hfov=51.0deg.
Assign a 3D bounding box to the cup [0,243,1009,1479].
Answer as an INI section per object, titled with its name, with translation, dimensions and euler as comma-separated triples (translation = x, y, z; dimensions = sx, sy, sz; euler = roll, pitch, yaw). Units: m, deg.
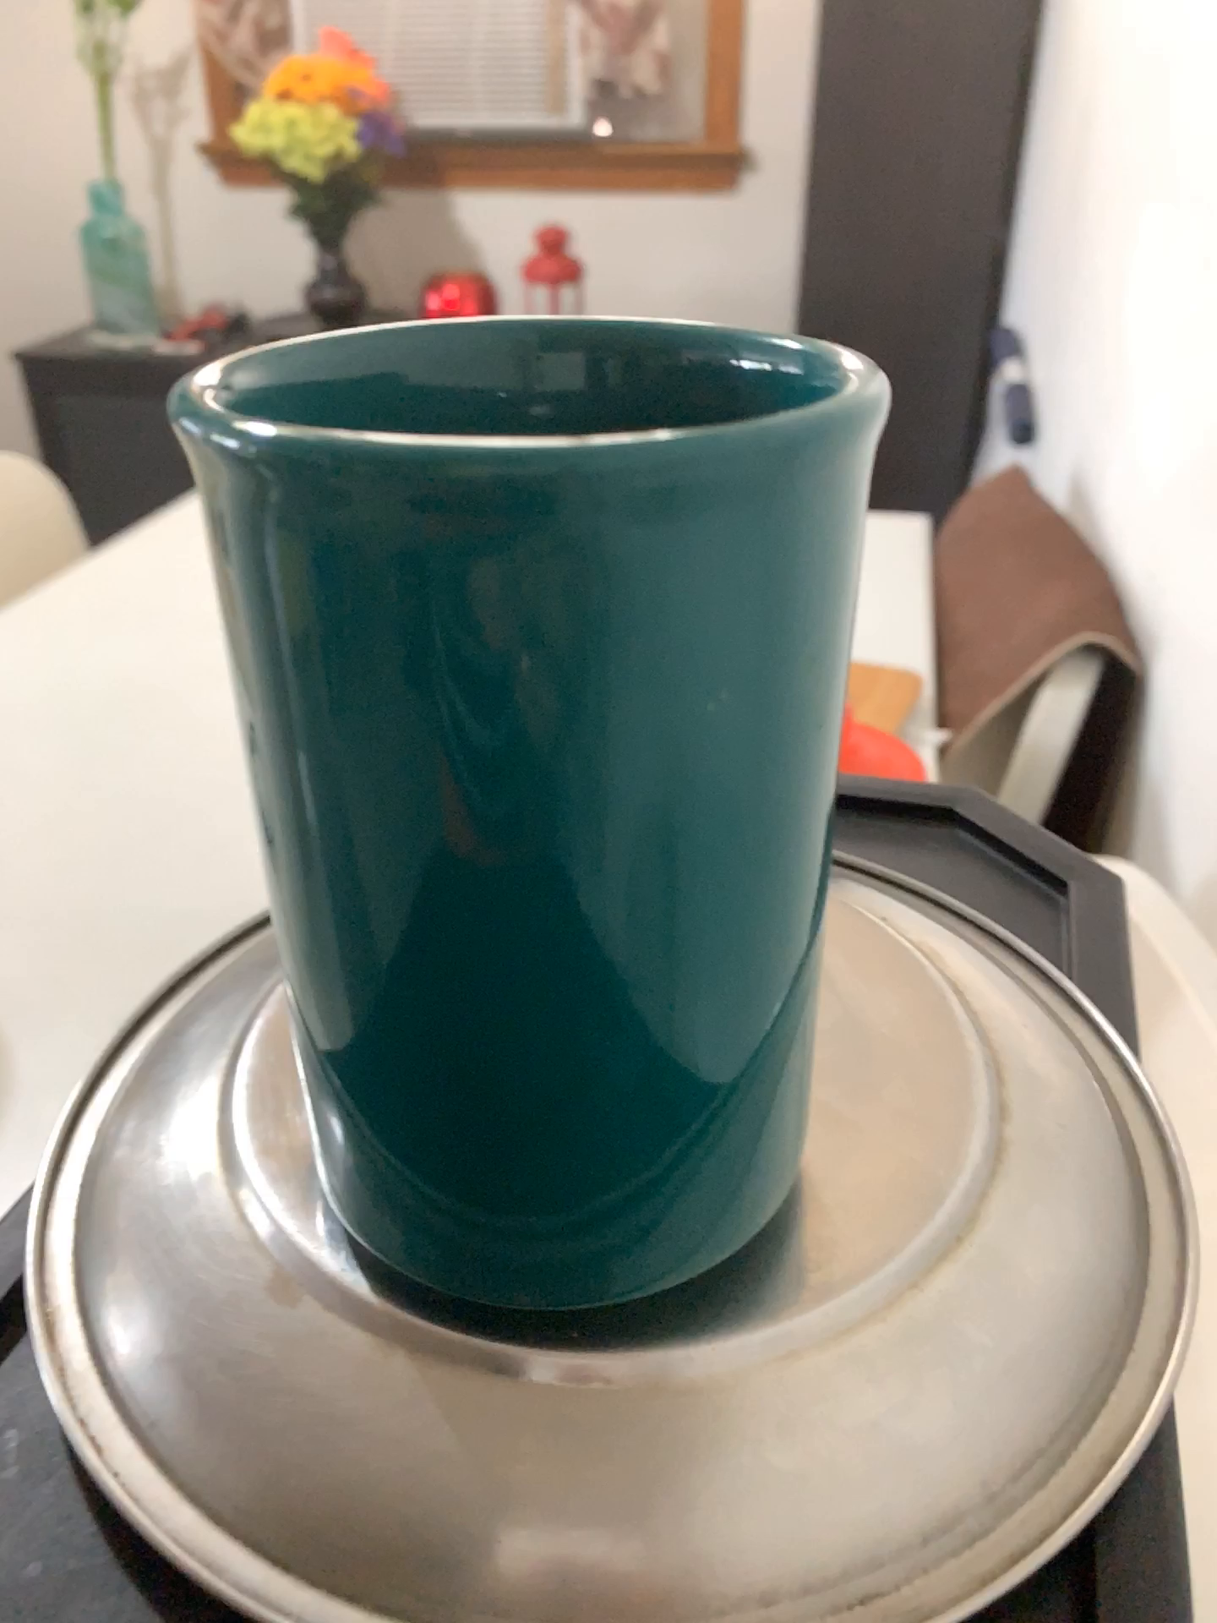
[cup]
translation = -0.026, -0.010, 0.184
dimensions = 0.080, 0.119, 0.120
euler = -21, 35, -33
